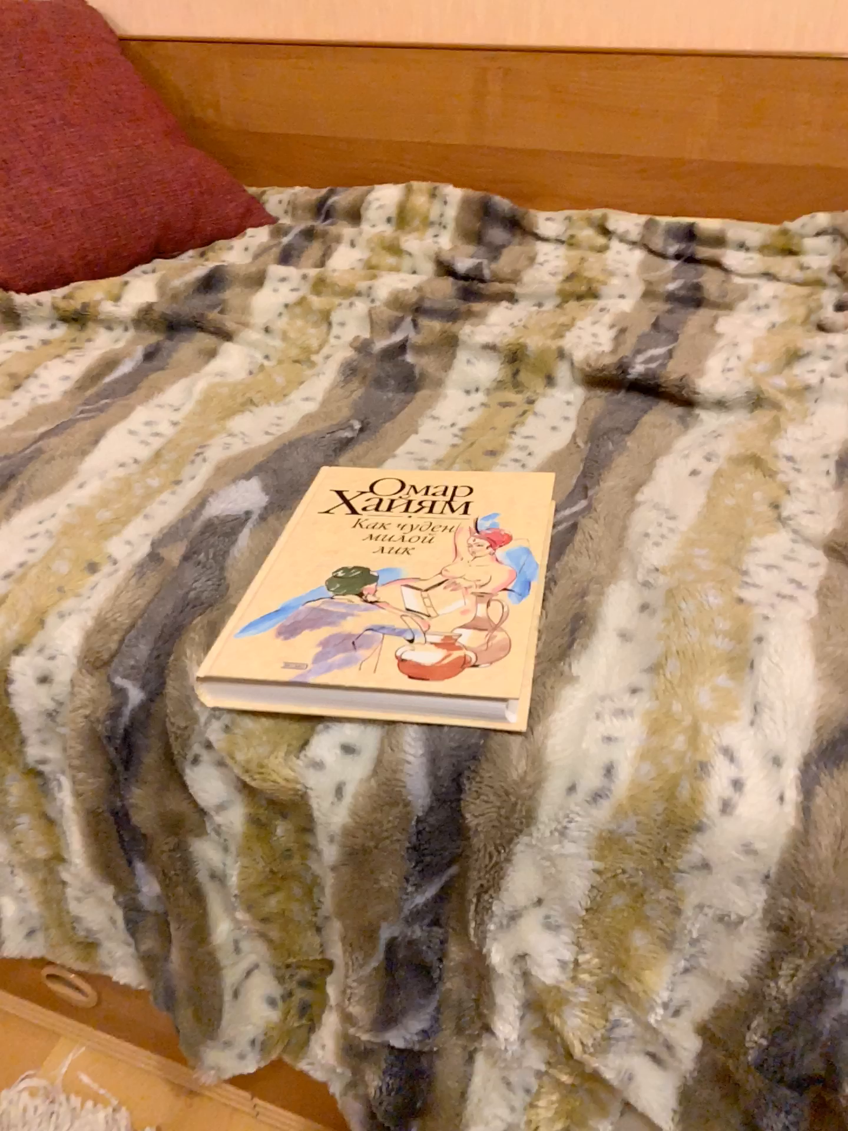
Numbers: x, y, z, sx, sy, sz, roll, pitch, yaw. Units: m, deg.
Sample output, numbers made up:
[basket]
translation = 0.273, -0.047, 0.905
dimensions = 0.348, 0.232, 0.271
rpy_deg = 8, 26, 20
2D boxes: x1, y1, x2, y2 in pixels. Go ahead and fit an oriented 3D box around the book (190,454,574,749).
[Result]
[book]
translation = -0.008, 0.004, 0.502
dimensions = 0.170, 0.030, 0.222
rpy_deg = 3, 37, 13
